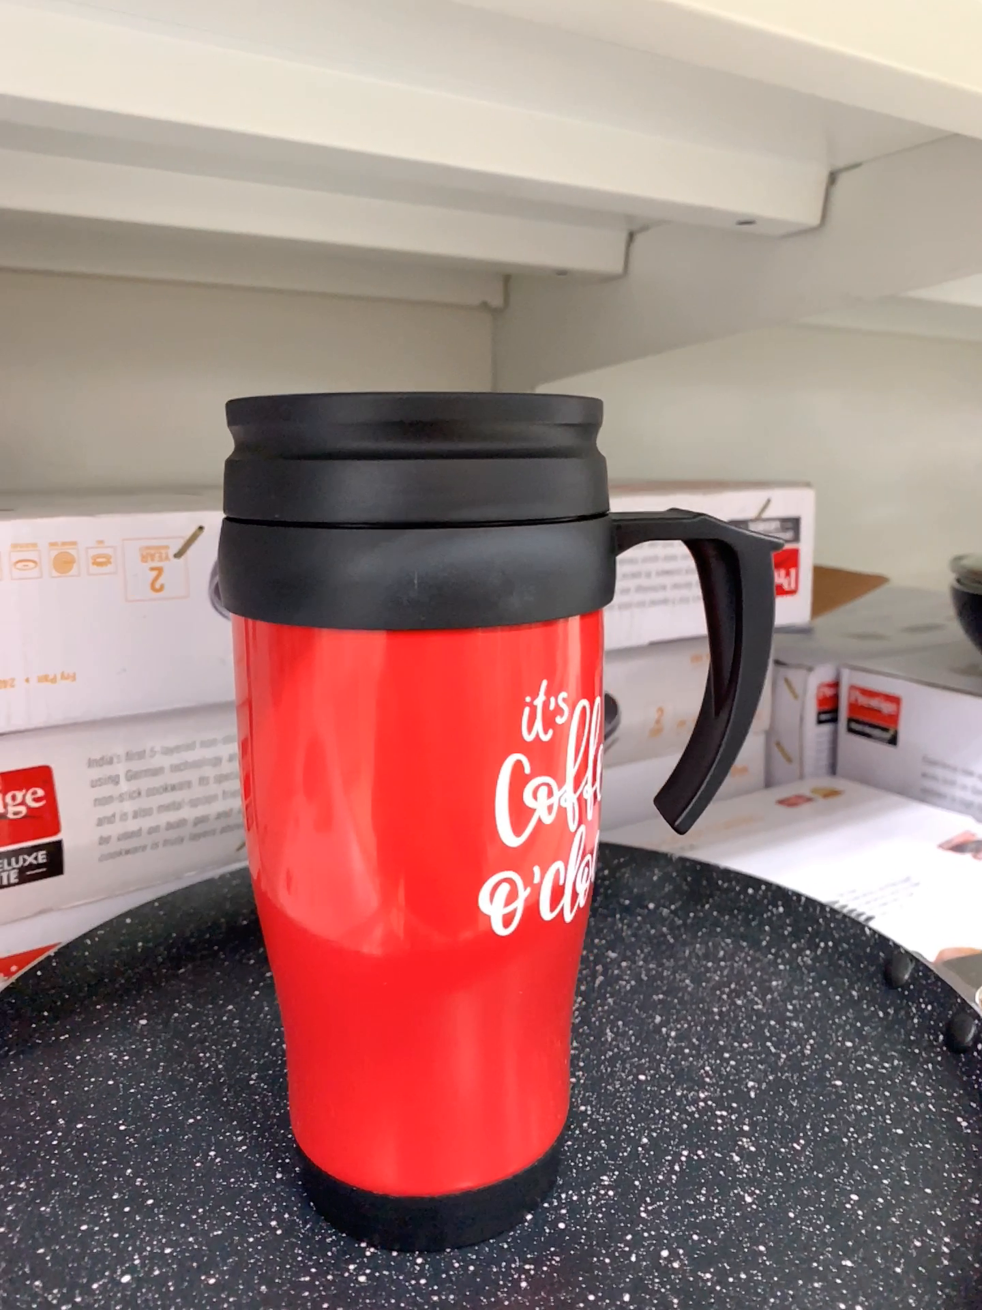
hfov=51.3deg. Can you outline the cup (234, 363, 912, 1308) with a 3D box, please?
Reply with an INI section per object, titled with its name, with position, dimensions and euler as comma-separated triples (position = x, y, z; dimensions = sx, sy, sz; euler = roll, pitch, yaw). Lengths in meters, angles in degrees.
[cup]
position = 0.009, 0.026, 0.231
dimensions = 0.120, 0.169, 0.090
euler = -3, 10, -12
